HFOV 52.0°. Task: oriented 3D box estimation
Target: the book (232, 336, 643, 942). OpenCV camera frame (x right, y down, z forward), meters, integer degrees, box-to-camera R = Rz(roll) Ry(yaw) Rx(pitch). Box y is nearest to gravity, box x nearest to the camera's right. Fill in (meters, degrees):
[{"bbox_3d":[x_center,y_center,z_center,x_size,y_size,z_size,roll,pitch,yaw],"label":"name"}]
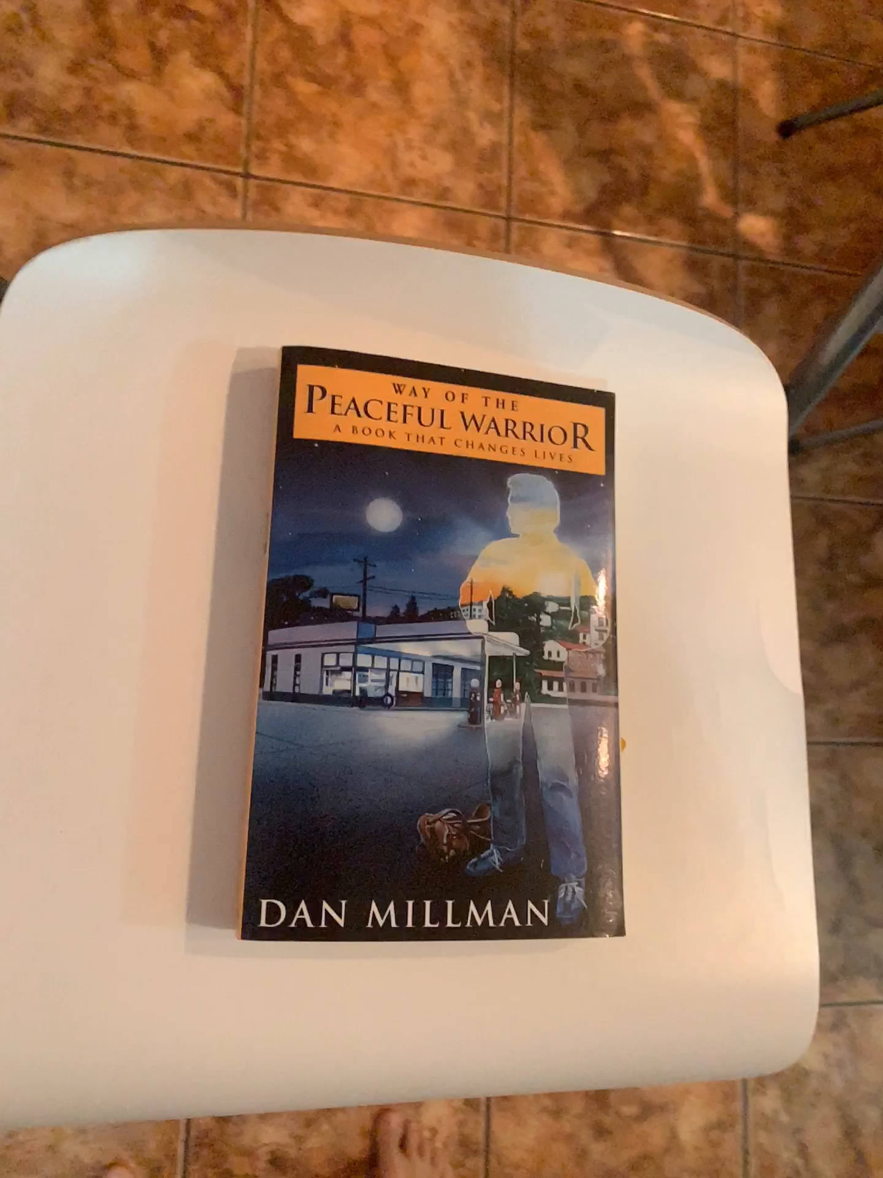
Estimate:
[{"bbox_3d":[0.001,0.021,0.348,0.141,0.039,0.210,5,82,-13],"label":"book"}]
